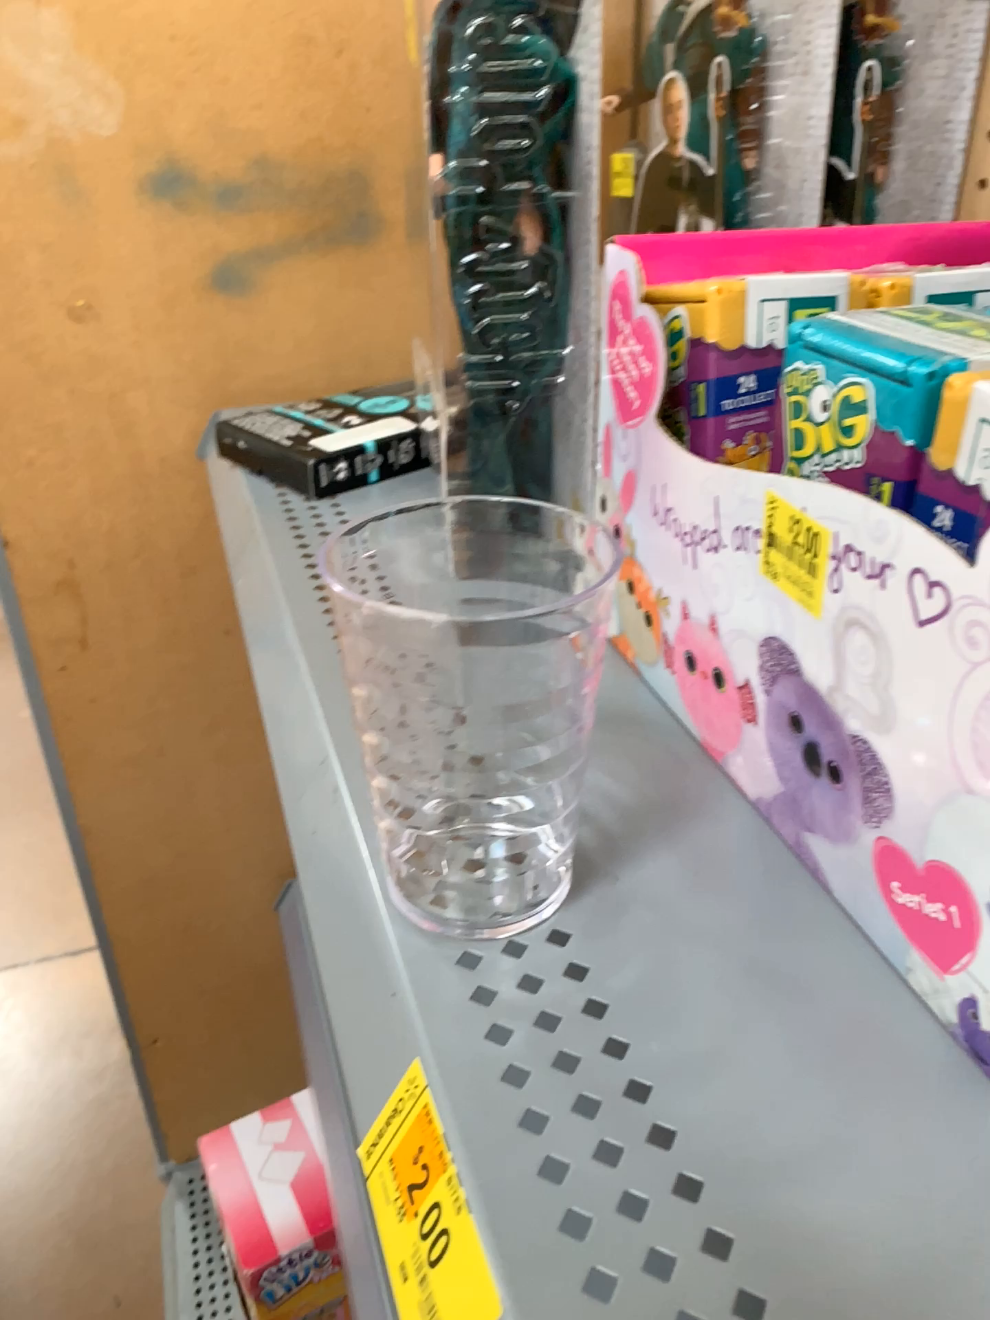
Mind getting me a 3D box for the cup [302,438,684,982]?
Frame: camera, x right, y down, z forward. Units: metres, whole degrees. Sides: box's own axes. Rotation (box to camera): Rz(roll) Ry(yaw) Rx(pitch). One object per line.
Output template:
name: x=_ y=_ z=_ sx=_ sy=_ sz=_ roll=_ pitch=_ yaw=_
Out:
cup: x=-0.004 y=0.009 z=0.270 sx=0.070 sy=0.107 sz=0.079 roll=-10 pitch=31 yaw=-15
